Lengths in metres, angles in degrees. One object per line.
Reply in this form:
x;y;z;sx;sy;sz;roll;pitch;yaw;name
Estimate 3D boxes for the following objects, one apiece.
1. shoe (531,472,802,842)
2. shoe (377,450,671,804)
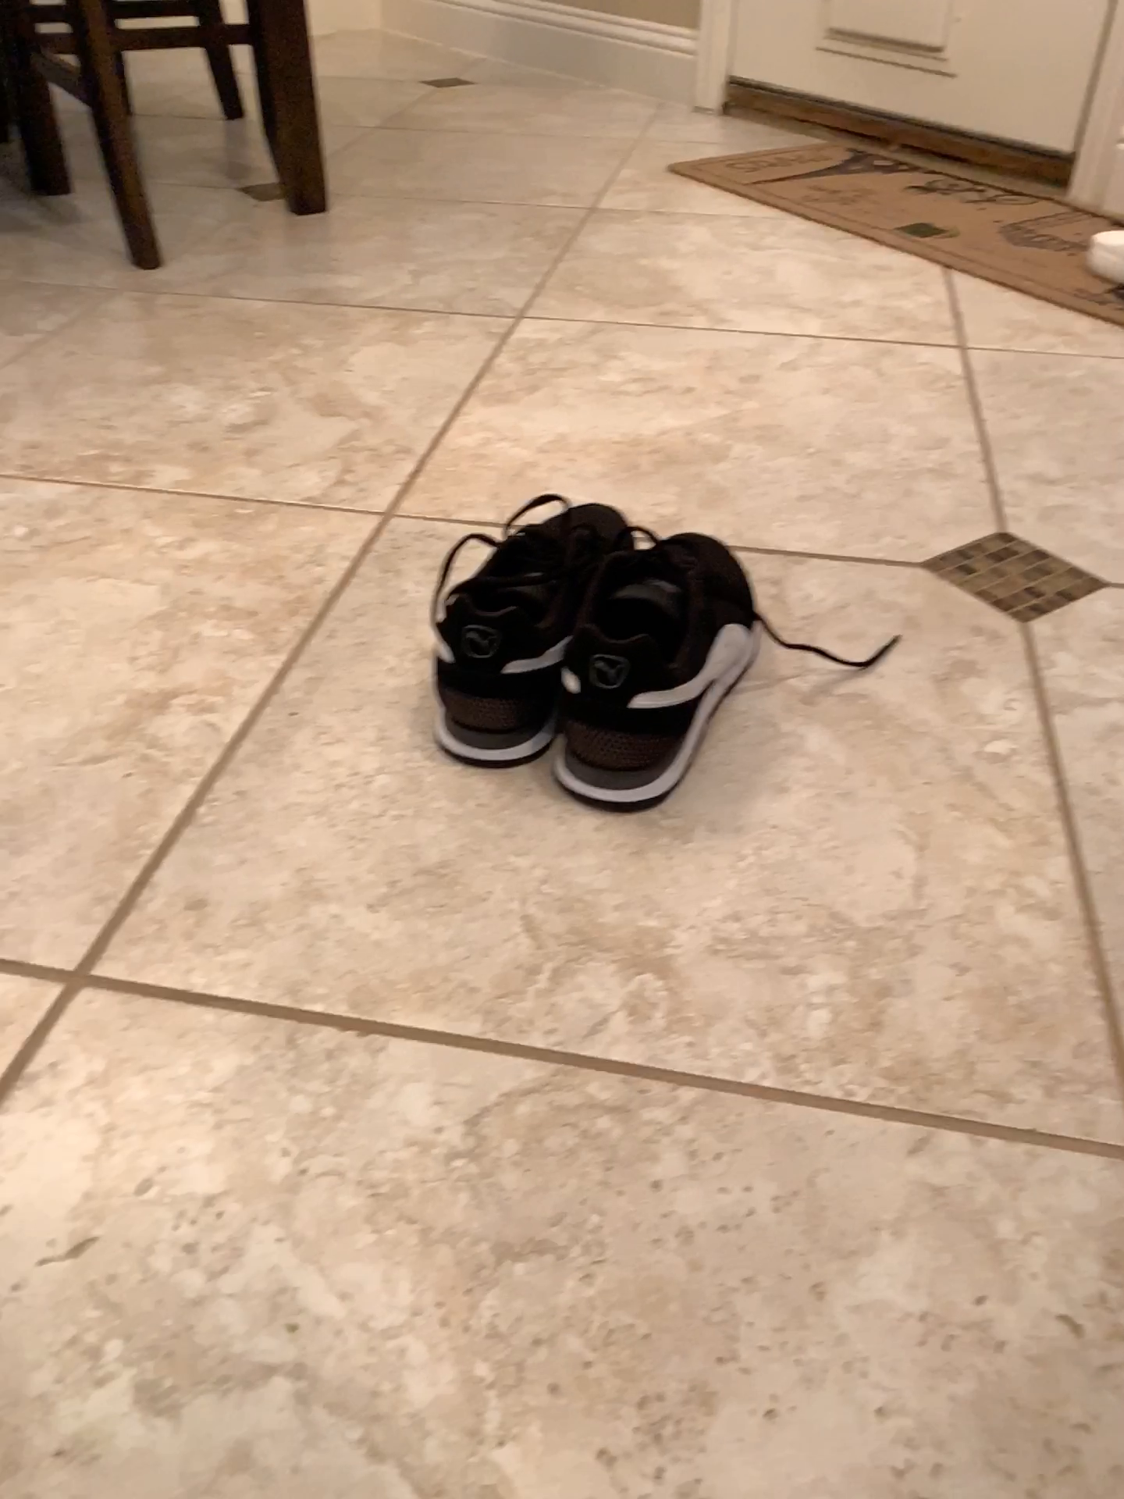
0.076;-0.074;0.753;0.108;0.095;0.270;12;40;14;shoe
-0.015;-0.096;0.778;0.108;0.095;0.270;13;40;13;shoe
